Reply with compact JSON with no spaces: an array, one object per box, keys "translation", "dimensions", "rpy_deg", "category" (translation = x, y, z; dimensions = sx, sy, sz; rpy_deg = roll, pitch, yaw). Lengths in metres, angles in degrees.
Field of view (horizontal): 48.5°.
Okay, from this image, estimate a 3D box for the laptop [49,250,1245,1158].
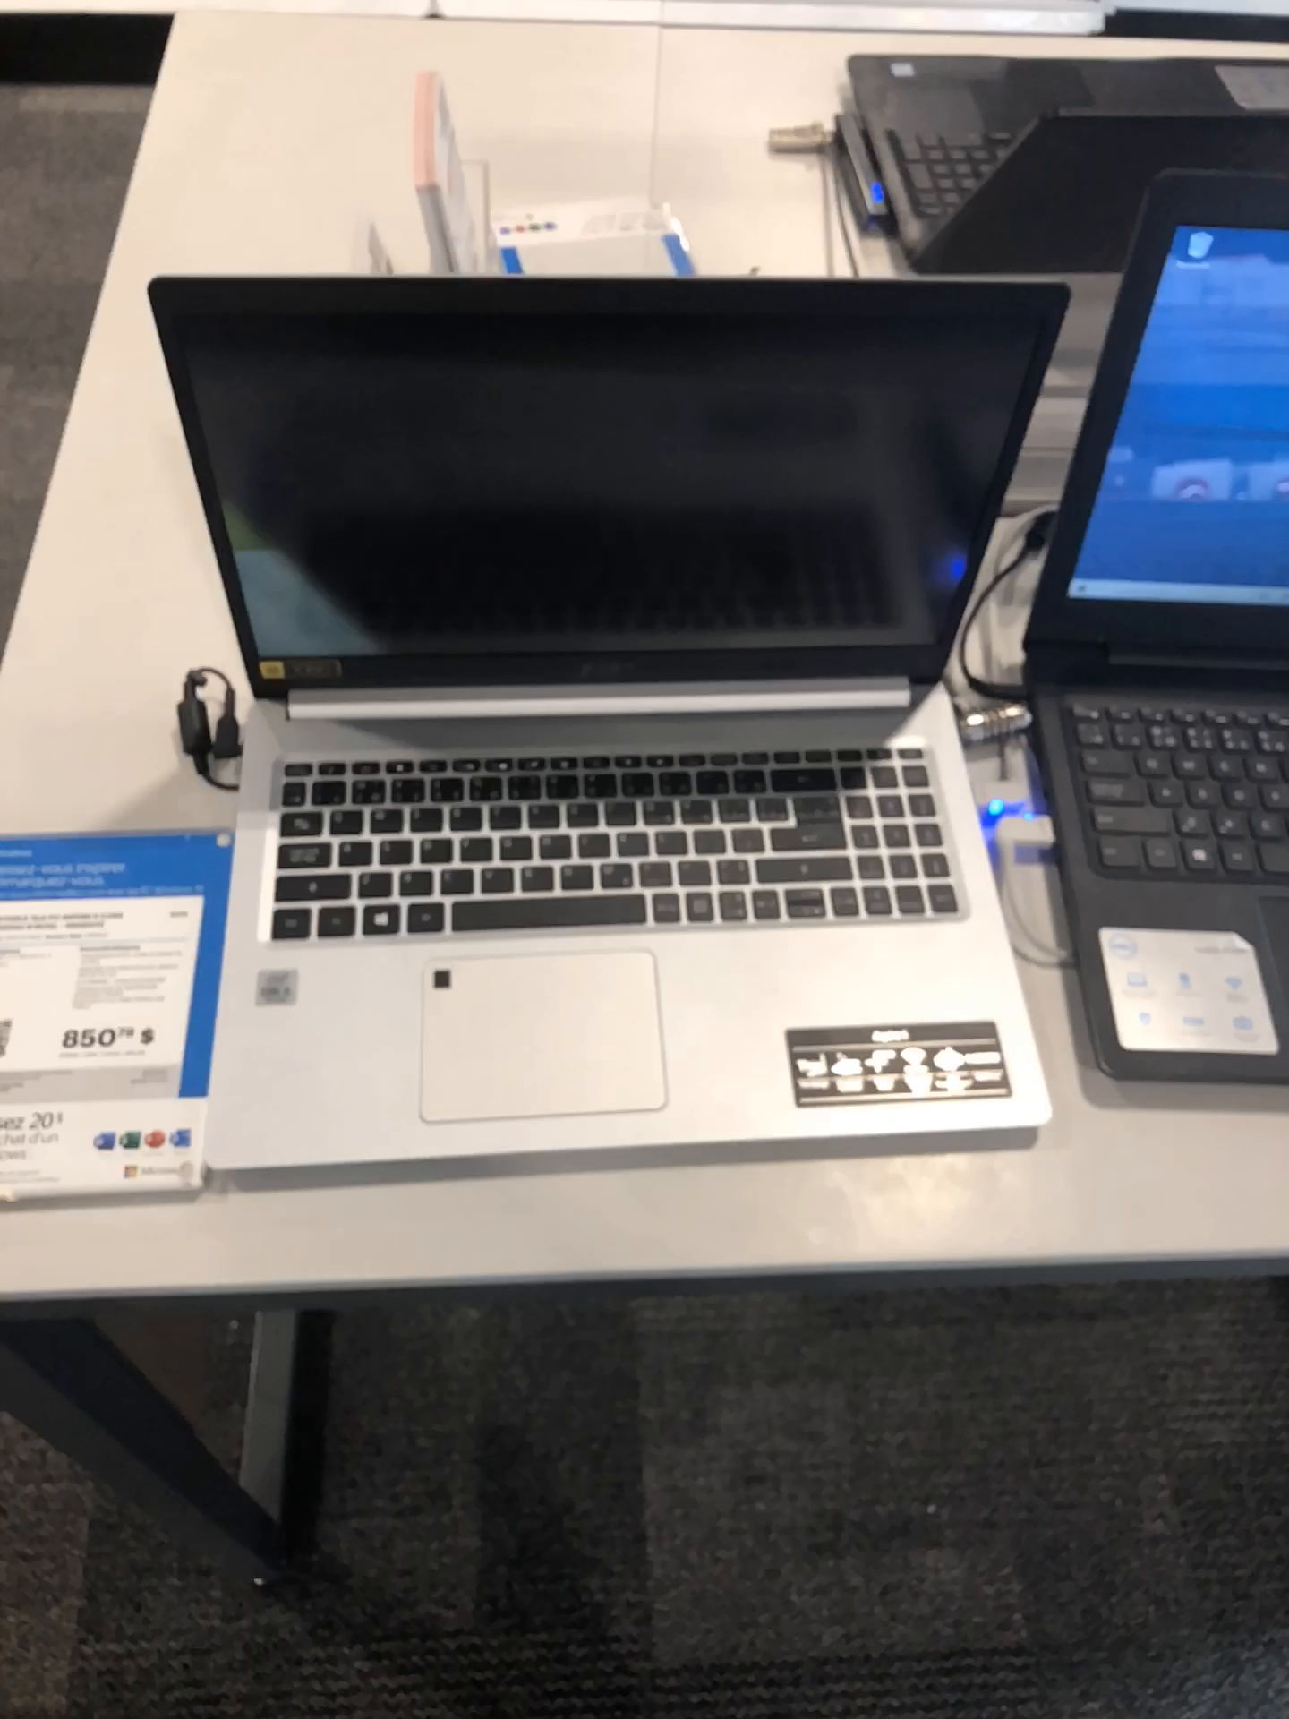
[{"translation":[-0.009,-0.059,0.581],"dimensions":[0.349,0.229,0.267],"rpy_deg":[-2,57,-4],"category":"laptop"}]
